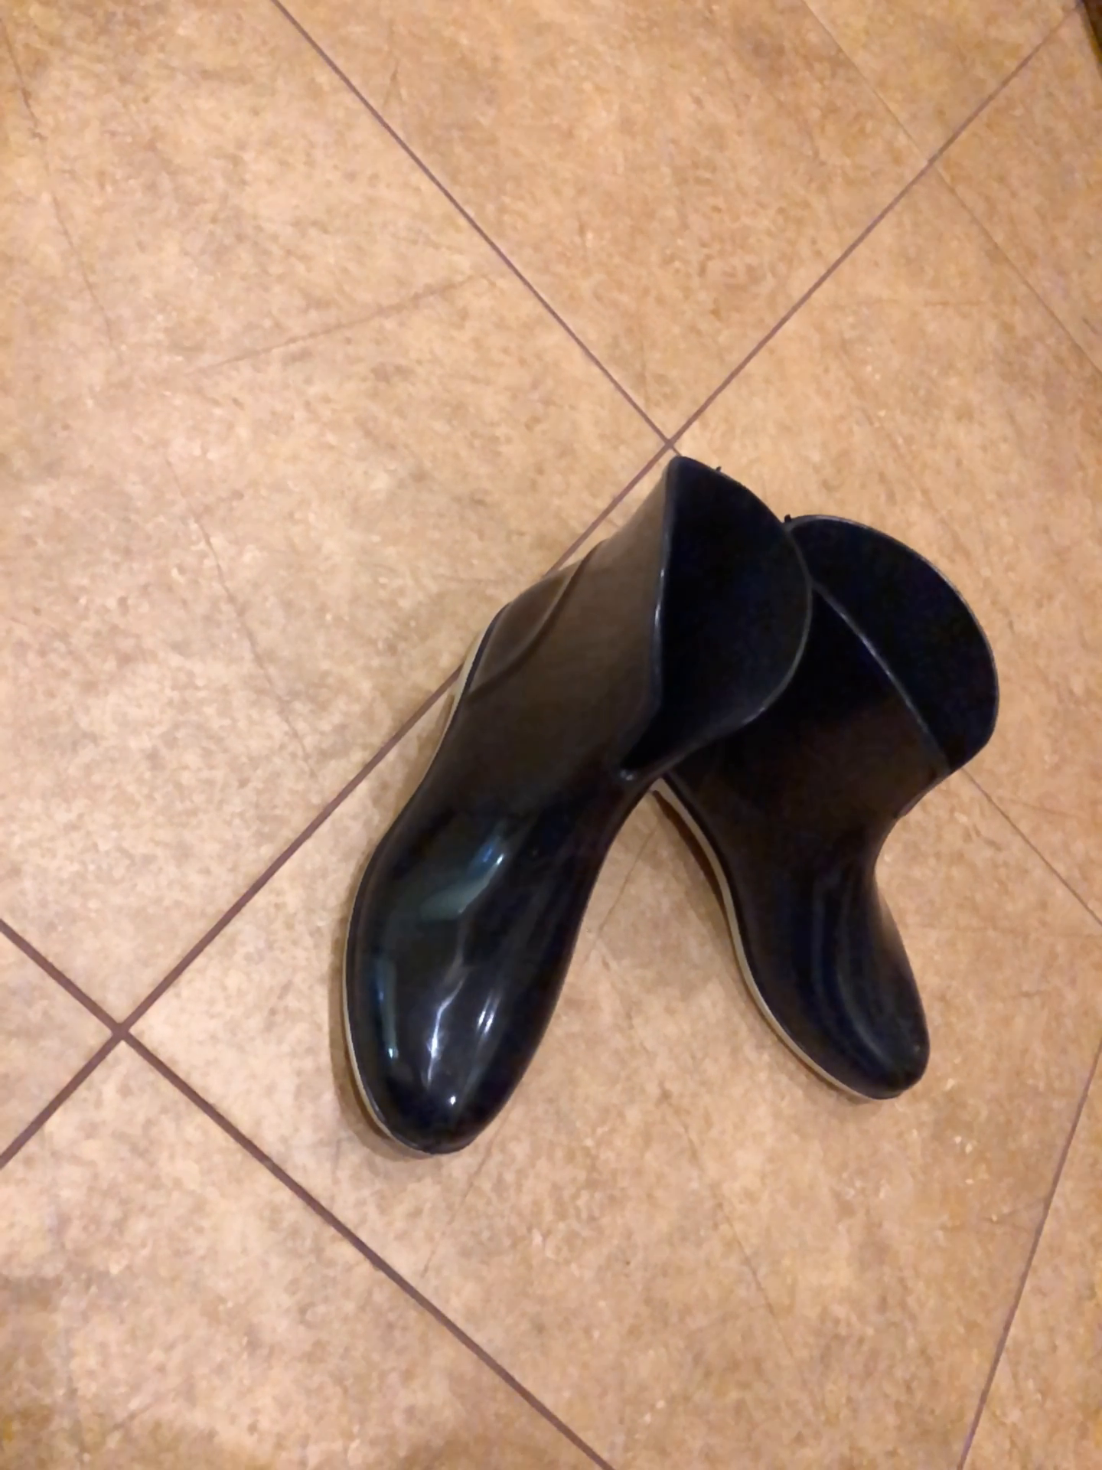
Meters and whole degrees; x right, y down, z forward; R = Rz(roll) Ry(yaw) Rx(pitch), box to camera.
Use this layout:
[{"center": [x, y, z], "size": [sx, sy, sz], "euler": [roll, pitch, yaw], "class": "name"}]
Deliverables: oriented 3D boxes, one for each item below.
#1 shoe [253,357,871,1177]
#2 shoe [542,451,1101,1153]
[{"center": [0.005, 0.020, 0.432], "size": [0.090, 0.169, 0.241], "euler": [28, 59, -20], "class": "shoe"}, {"center": [0.132, 0.040, 0.501], "size": [0.090, 0.169, 0.240], "euler": [-31, 90, -36], "class": "shoe"}]
